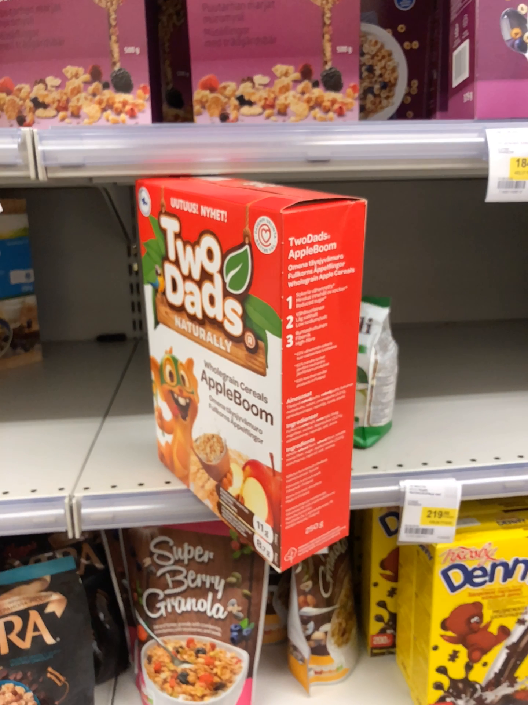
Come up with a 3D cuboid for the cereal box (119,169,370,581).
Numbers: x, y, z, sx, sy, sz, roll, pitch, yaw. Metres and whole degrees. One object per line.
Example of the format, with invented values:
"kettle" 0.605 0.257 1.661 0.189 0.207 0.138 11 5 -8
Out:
"cereal box" -0.026 0.002 0.476 0.080 0.269 0.201 -16 27 -34
